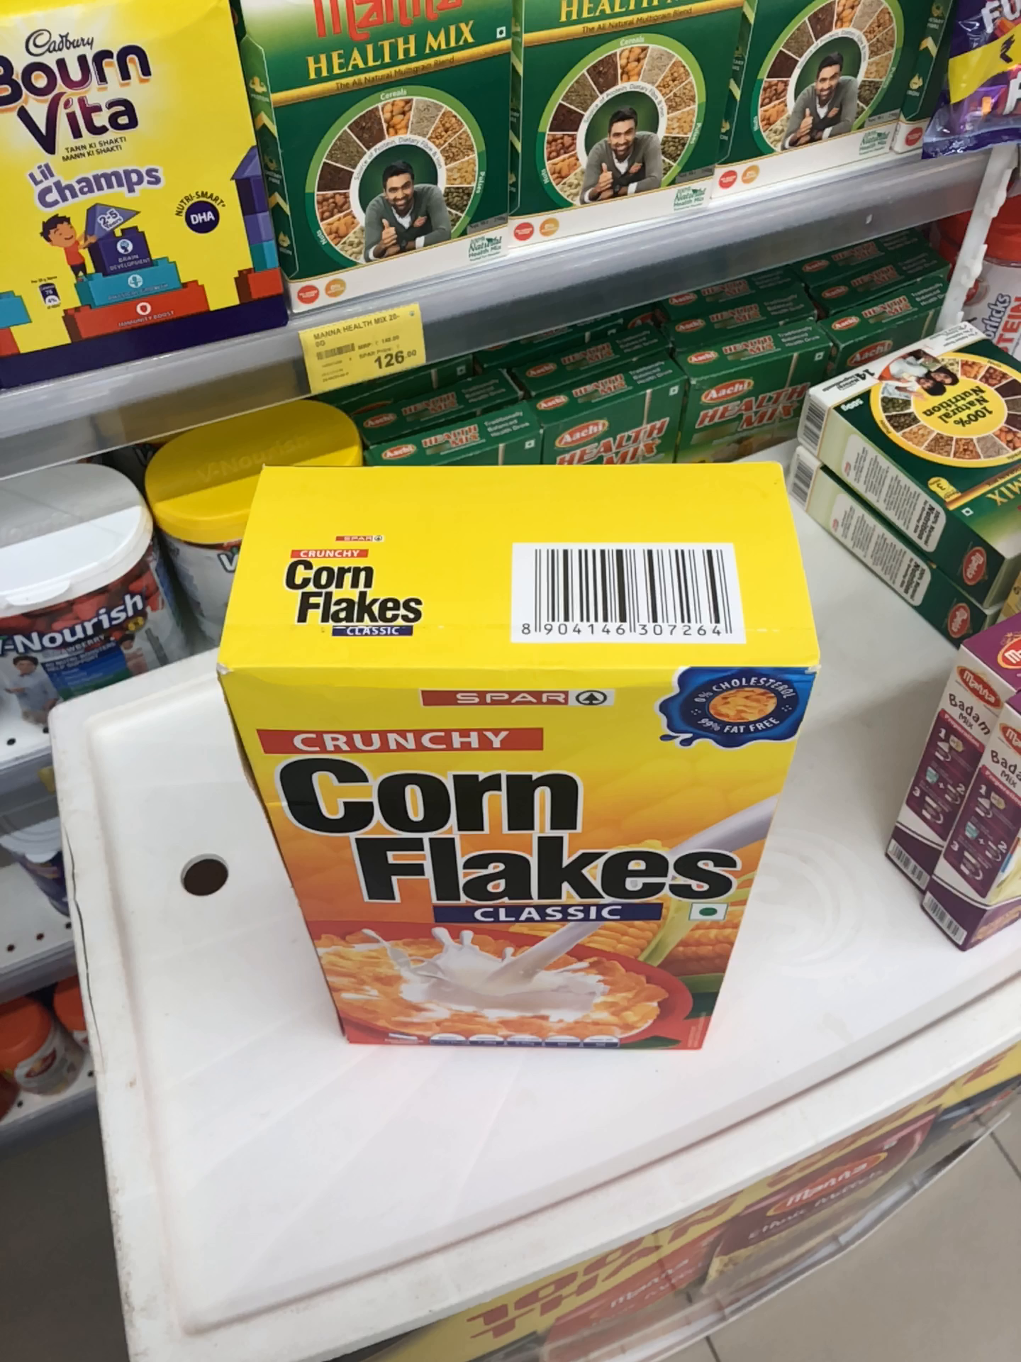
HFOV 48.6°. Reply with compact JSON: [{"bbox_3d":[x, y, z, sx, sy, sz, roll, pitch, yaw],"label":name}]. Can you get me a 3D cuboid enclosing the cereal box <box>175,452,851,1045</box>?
[{"bbox_3d":[0.003,0.055,0.489,0.200,0.319,0.090,1,53,2],"label":"cereal box"}]
